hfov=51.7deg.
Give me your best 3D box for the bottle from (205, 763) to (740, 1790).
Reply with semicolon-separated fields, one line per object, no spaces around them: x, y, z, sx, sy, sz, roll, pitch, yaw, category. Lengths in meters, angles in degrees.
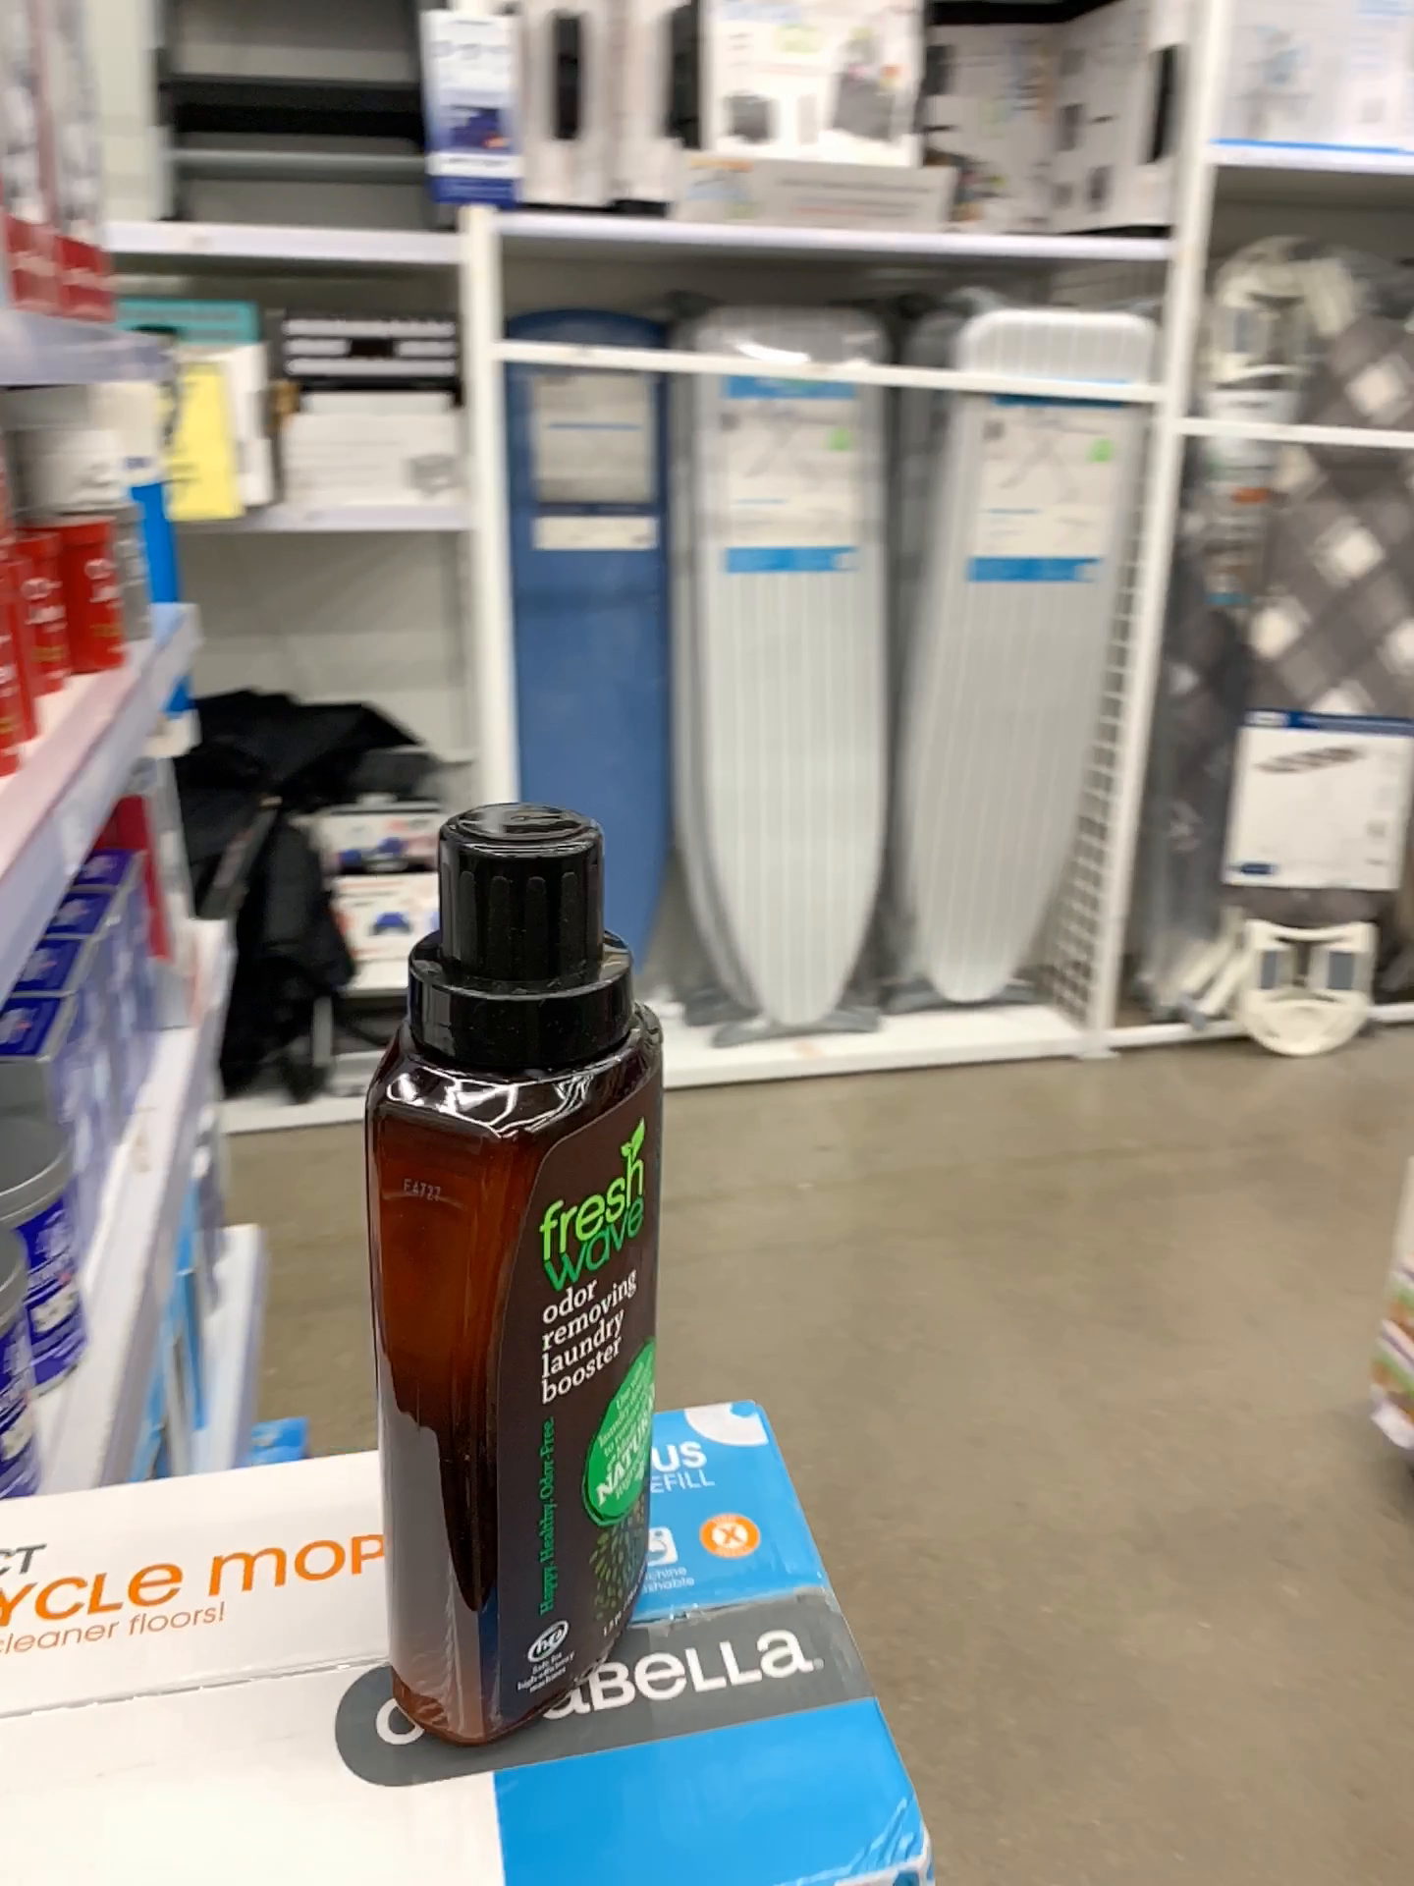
-0.047;0.074;0.354;0.070;0.209;0.100;10;23;25;bottle
